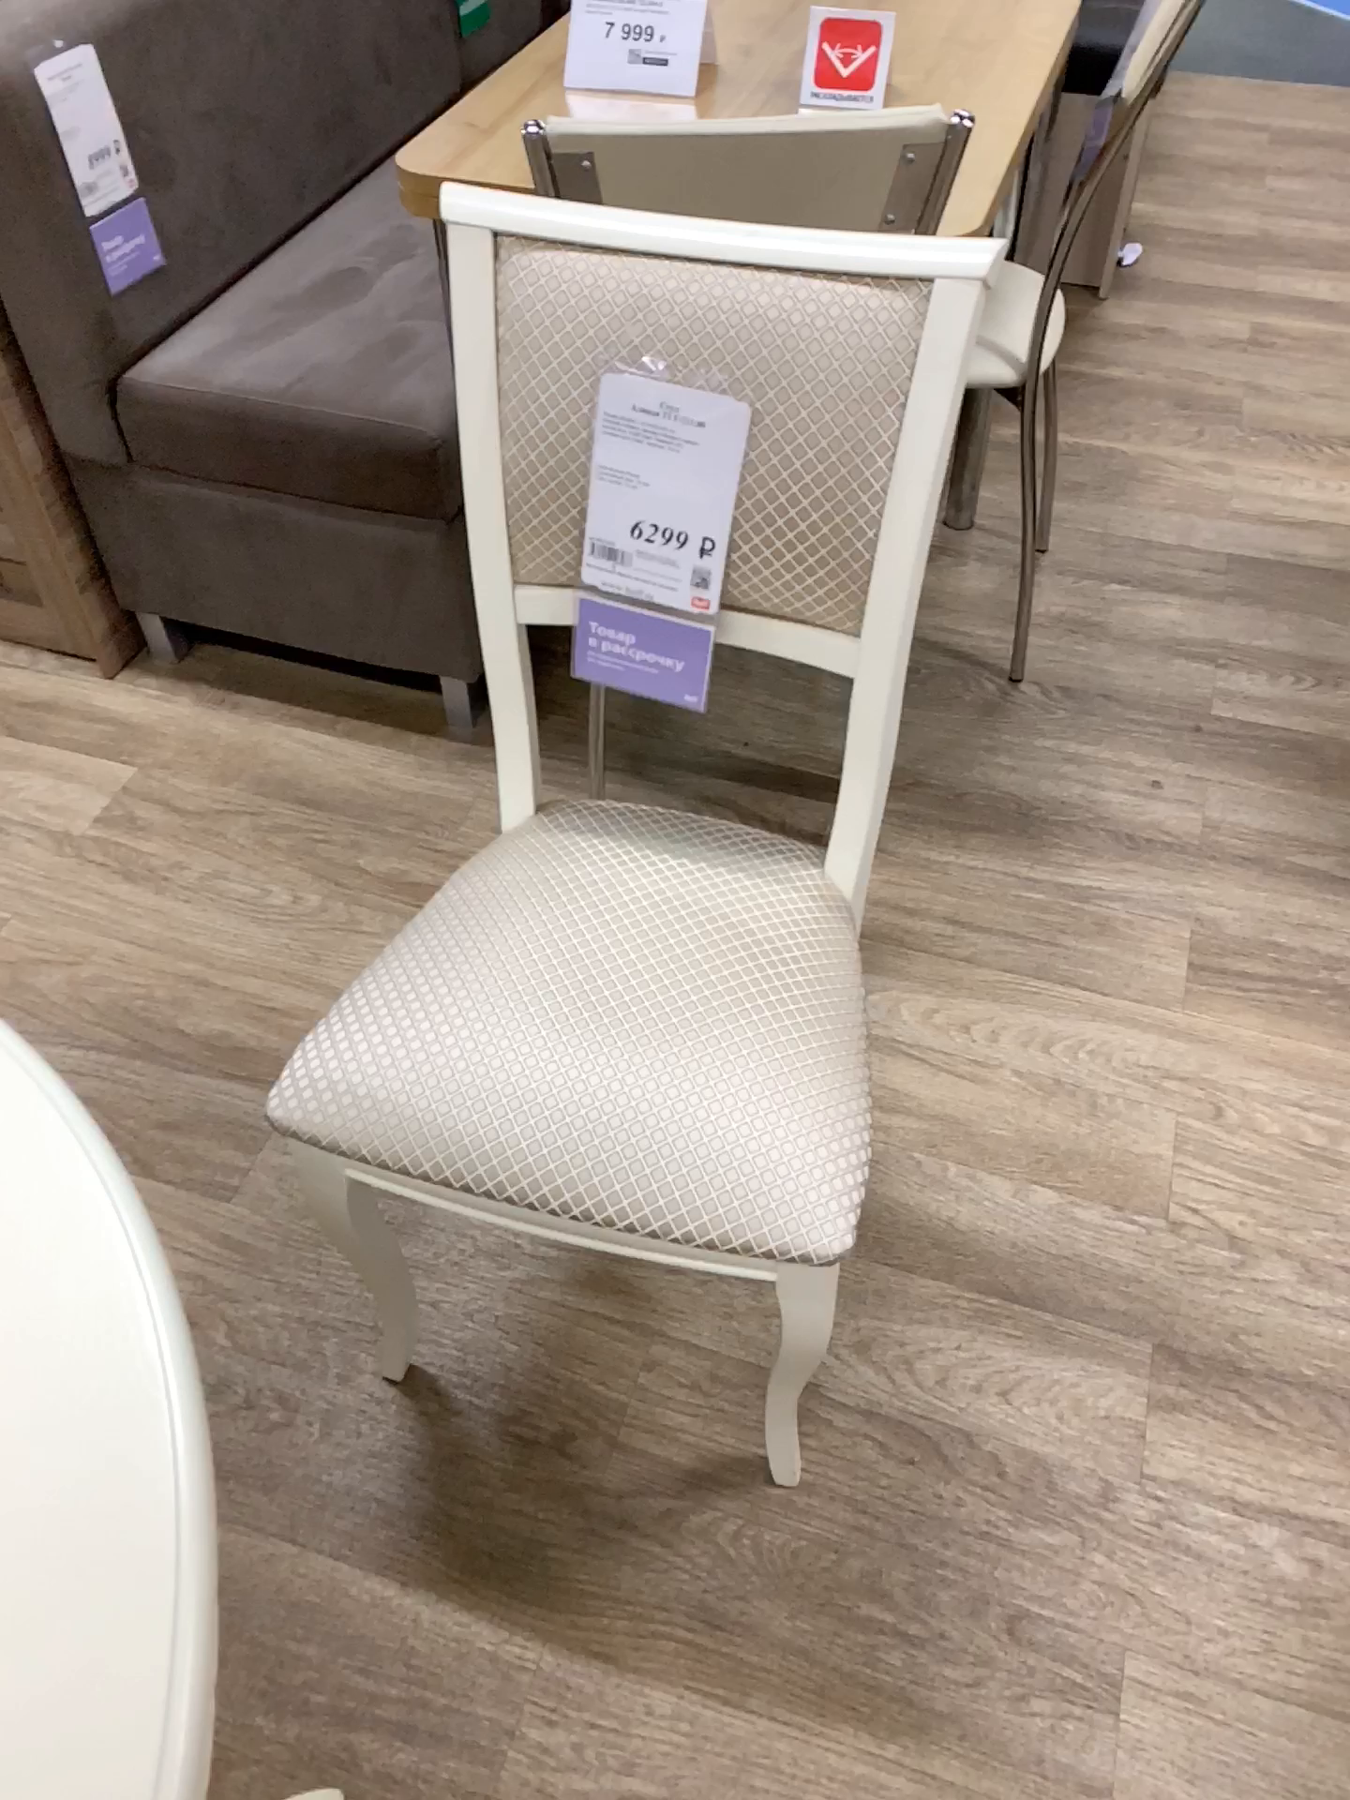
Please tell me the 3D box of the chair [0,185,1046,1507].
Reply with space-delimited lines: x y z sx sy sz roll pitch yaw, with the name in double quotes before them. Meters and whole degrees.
"chair" -0.037 0.019 1.125 0.460 0.925 0.512 11 48 10
